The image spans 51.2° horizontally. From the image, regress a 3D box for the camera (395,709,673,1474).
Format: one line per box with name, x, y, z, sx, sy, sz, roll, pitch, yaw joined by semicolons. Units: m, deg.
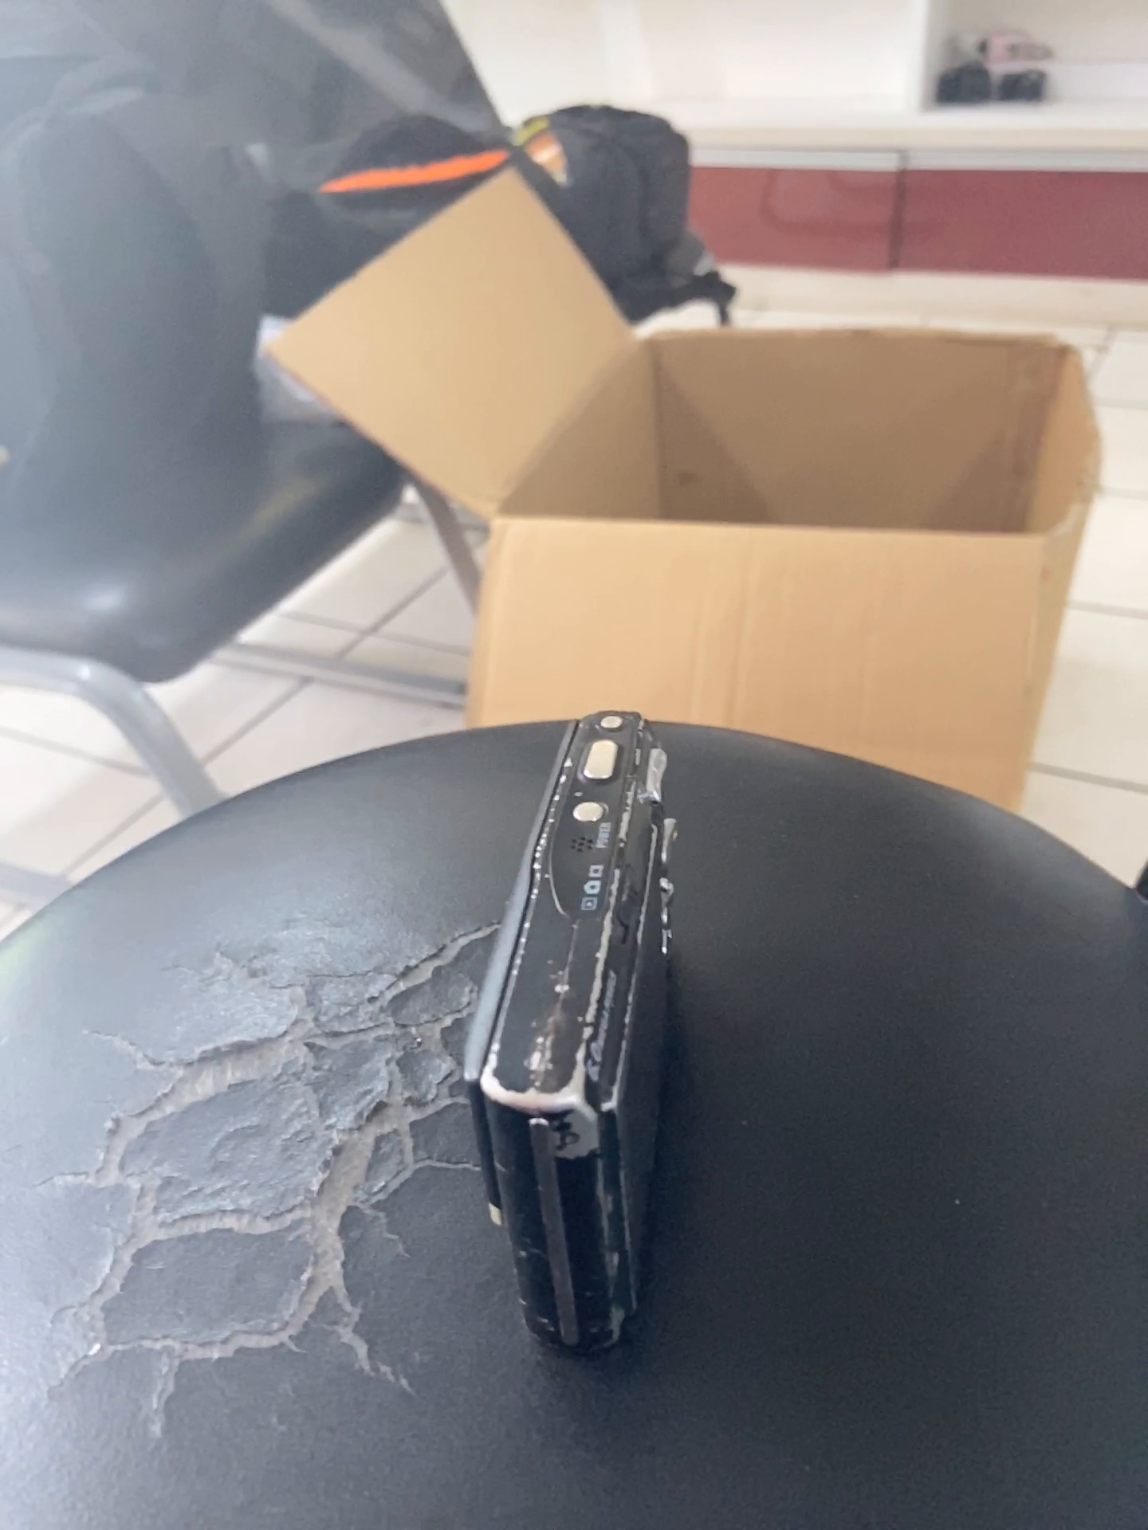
camera;0.000;0.044;0.190;0.020;0.060;0.101;1;36;10
